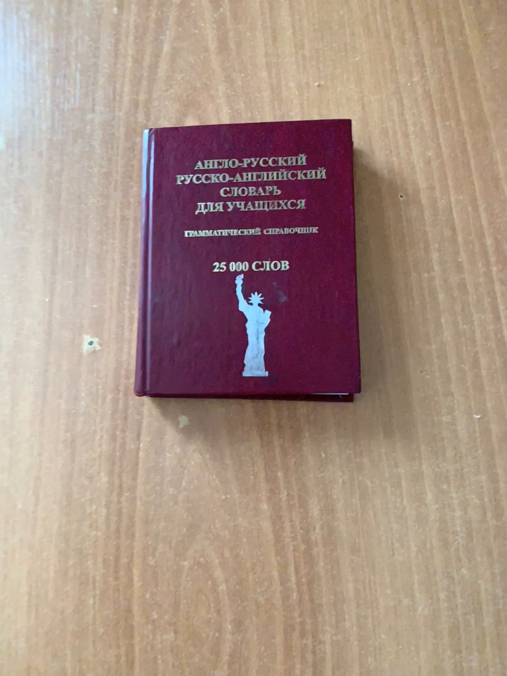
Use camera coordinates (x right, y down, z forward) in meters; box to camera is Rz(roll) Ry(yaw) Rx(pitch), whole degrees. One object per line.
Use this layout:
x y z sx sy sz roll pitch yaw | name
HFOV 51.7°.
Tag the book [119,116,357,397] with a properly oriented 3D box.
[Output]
-0.009 -0.048 0.316 0.134 0.024 0.166 0 82 4 | book
